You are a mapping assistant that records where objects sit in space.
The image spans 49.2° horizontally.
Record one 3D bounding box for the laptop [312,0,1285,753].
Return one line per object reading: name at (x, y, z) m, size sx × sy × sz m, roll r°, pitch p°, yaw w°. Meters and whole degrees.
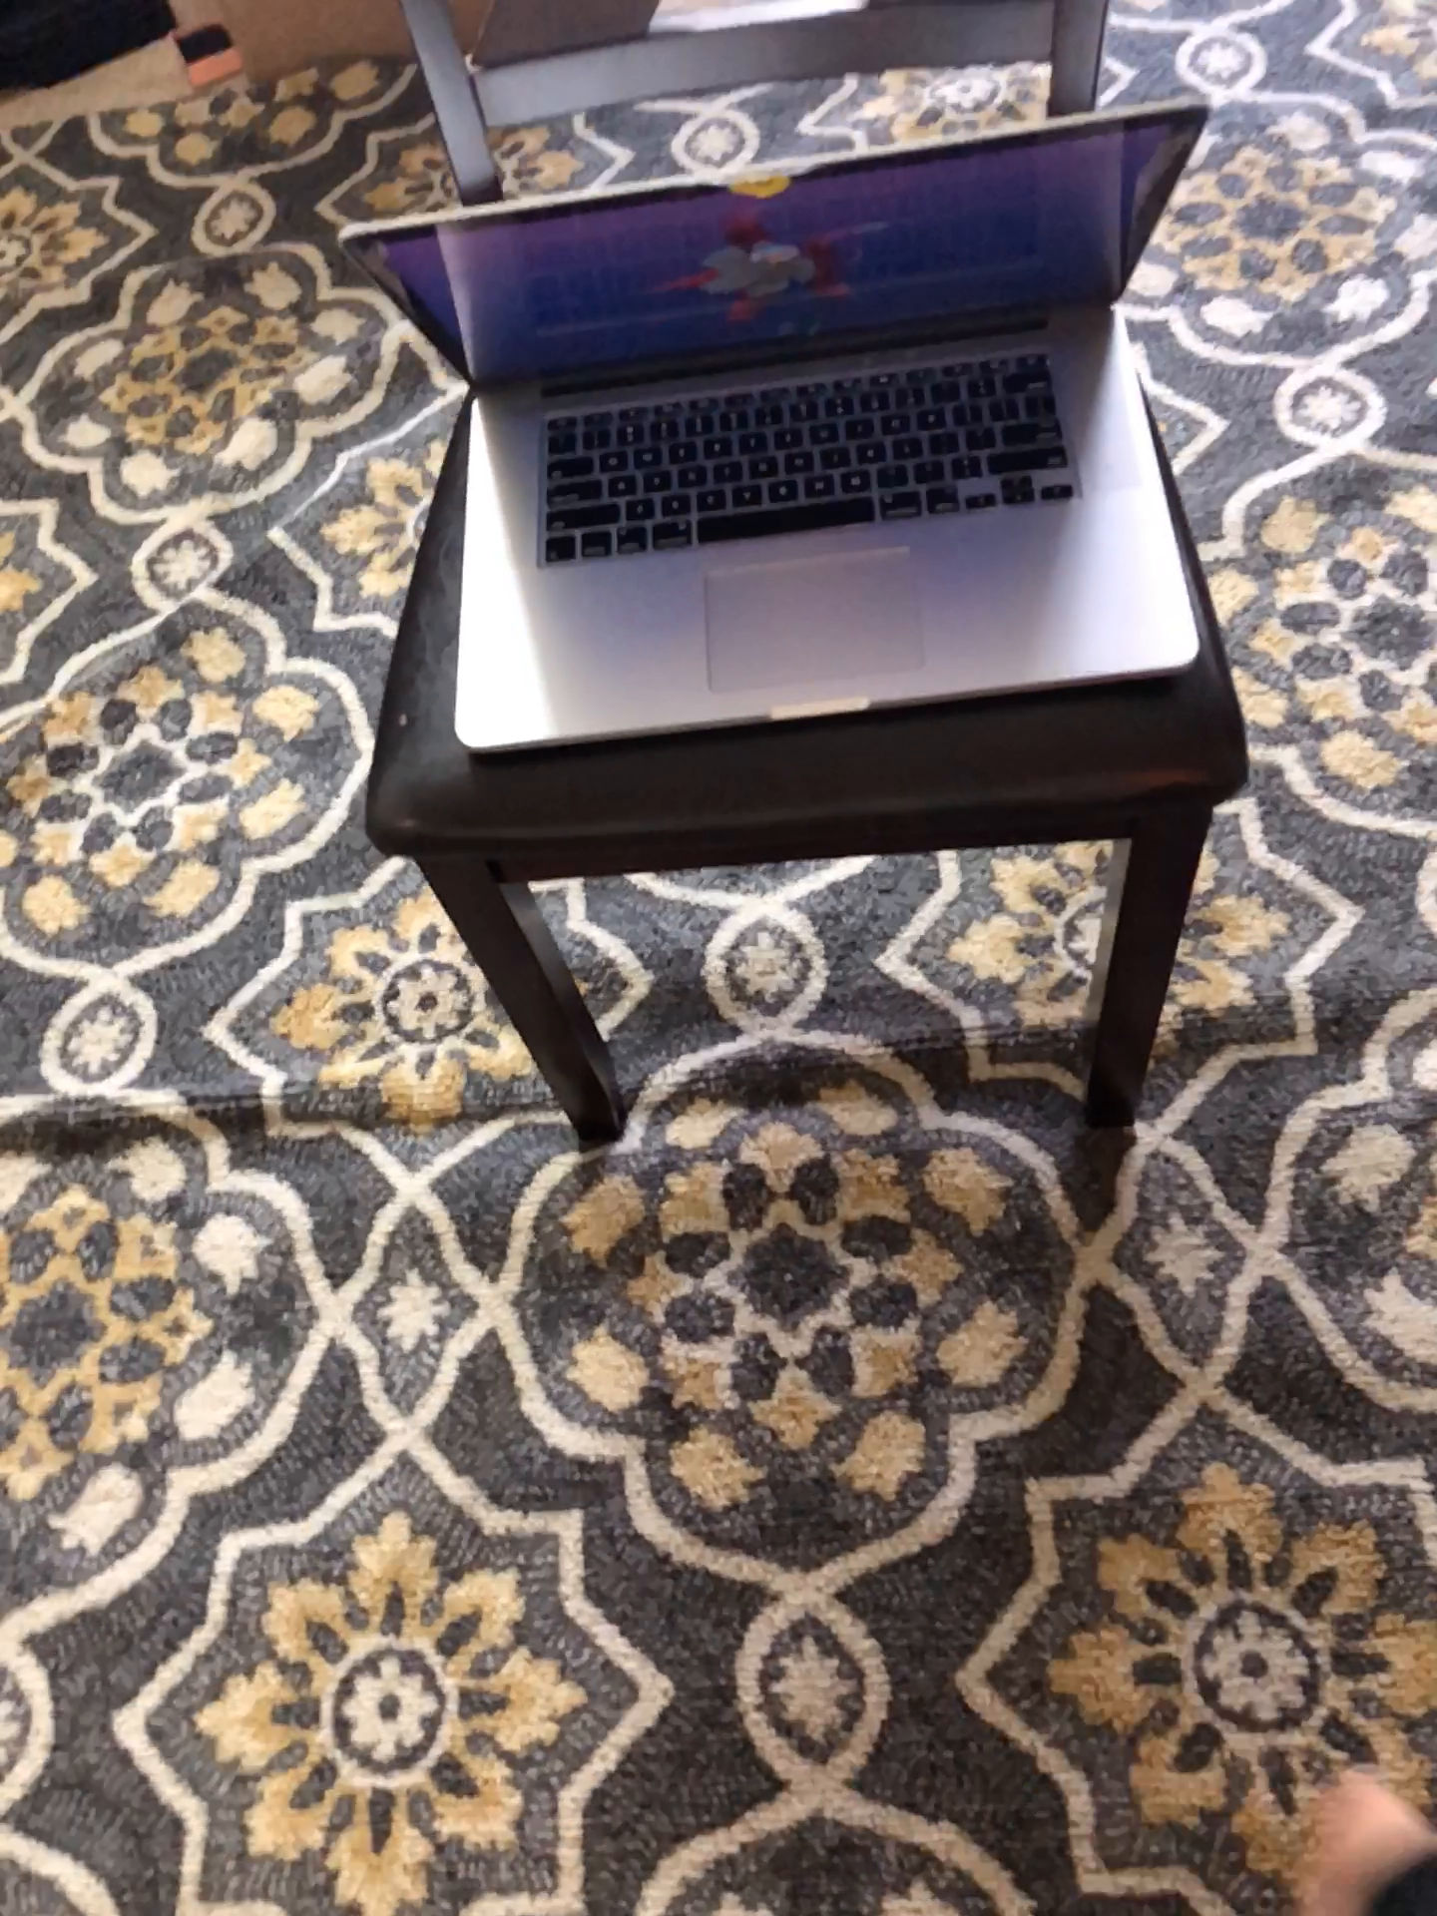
laptop at (0.031, -0.267, 0.709) m, size 0.351 × 0.200 × 0.237 m, roll -6°, pitch 61°, yaw 5°
